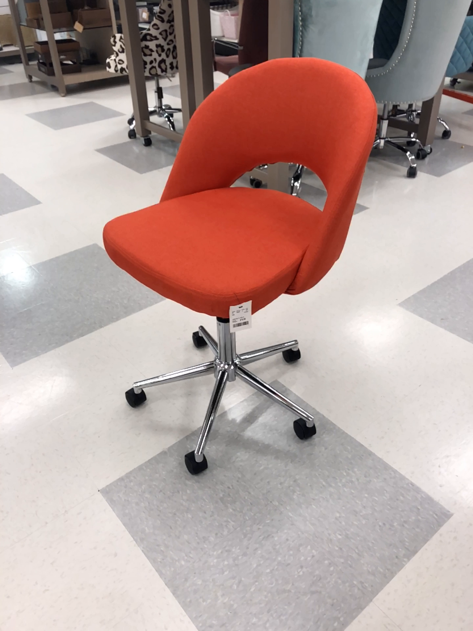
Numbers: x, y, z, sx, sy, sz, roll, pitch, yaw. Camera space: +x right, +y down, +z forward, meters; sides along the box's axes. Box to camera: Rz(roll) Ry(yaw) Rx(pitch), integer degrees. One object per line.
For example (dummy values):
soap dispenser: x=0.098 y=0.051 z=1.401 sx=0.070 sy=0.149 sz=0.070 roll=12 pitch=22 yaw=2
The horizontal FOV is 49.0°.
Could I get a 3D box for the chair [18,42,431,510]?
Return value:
chair: x=-0.021 y=-0.148 z=1.311 sx=0.609 sy=0.858 sz=0.601 roll=-28 pitch=42 yaw=-32
